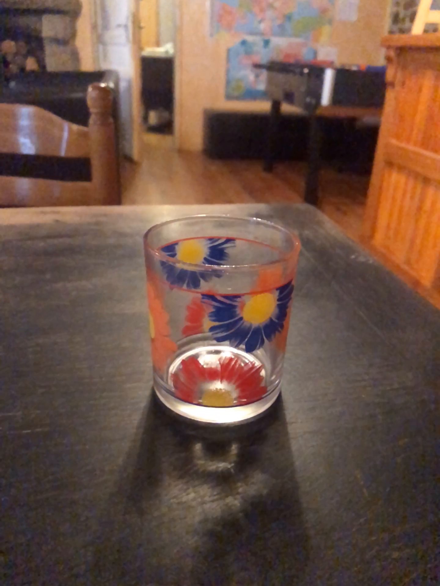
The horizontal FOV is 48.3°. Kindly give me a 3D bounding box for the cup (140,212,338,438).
[{"bbox_3d":[0.002,0.010,0.242,0.076,0.079,0.078,2,25,-1],"label":"cup"}]
